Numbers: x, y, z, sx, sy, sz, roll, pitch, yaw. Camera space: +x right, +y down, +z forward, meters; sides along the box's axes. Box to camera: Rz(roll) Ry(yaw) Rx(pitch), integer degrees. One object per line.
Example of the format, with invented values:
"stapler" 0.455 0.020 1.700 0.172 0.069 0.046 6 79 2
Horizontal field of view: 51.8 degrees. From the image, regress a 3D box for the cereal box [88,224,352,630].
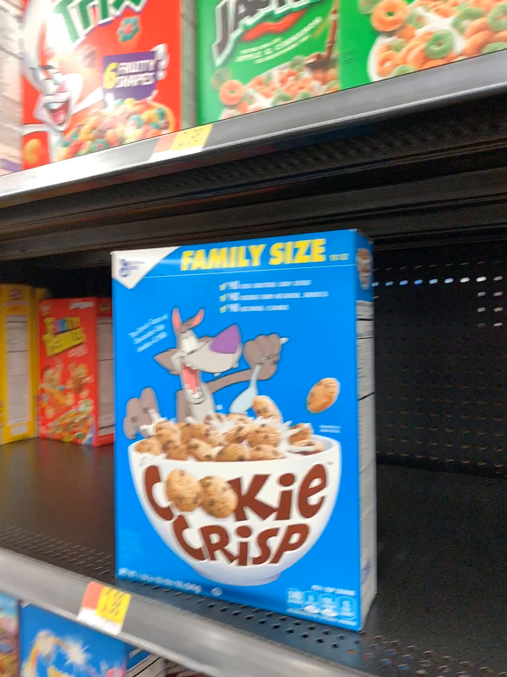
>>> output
"cereal box" -0.036 0.074 0.515 0.250 0.340 0.070 0 1 21
